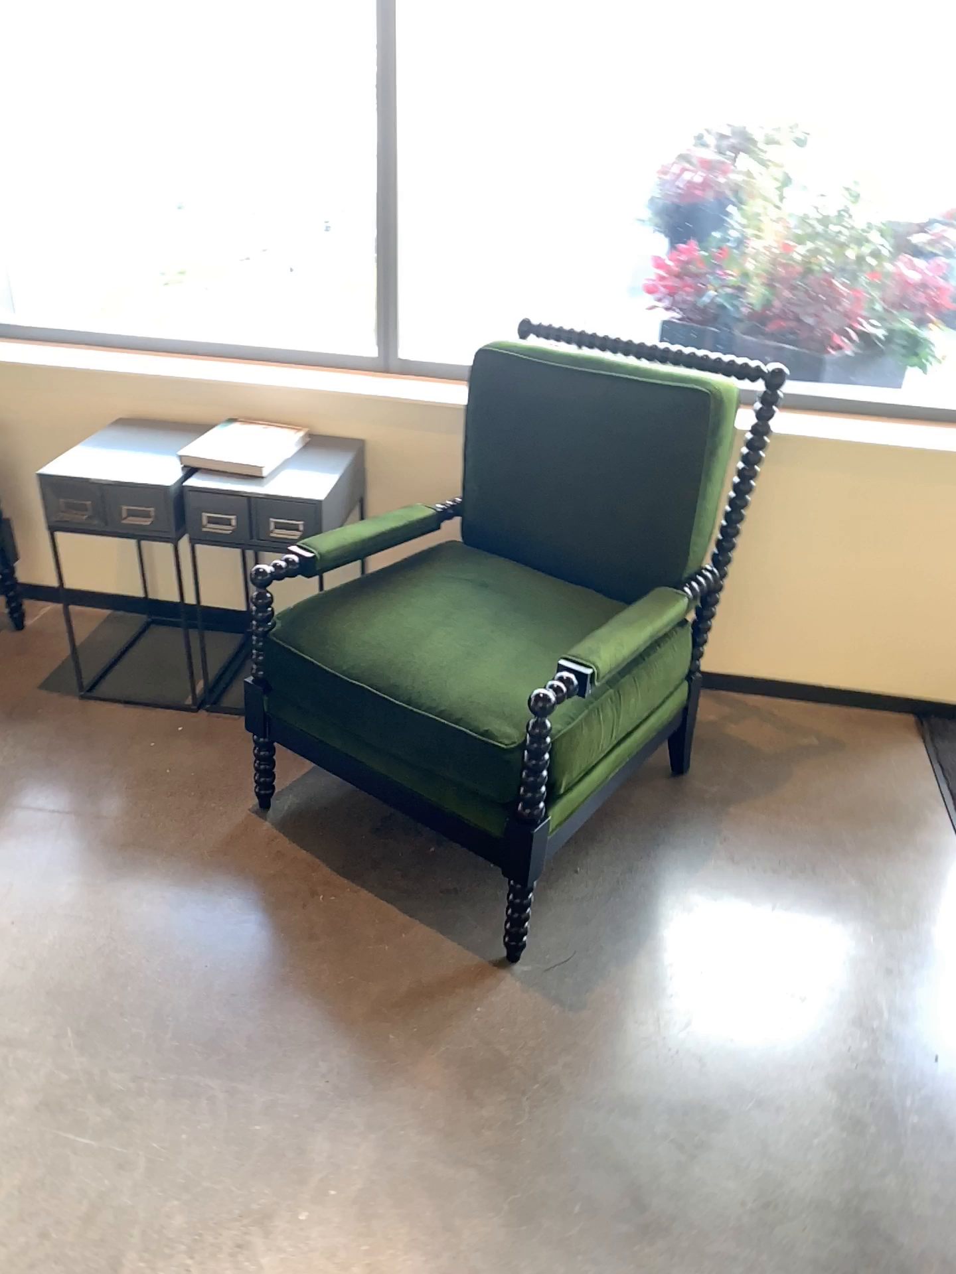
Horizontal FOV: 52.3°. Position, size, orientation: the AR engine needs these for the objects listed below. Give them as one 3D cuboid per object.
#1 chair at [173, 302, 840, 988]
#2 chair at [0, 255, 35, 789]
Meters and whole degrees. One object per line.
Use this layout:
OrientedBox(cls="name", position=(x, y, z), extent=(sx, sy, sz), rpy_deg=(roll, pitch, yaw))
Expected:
OrientedBox(cls="chair", position=(0.070, -0.098, 2.060), extent=(0.873, 0.925, 0.942), rpy_deg=(23, 35, 31))
OrientedBox(cls="chair", position=(-1.754, -0.311, 2.270), extent=(0.910, 0.925, 0.845), rpy_deg=(4, 30, 2))
